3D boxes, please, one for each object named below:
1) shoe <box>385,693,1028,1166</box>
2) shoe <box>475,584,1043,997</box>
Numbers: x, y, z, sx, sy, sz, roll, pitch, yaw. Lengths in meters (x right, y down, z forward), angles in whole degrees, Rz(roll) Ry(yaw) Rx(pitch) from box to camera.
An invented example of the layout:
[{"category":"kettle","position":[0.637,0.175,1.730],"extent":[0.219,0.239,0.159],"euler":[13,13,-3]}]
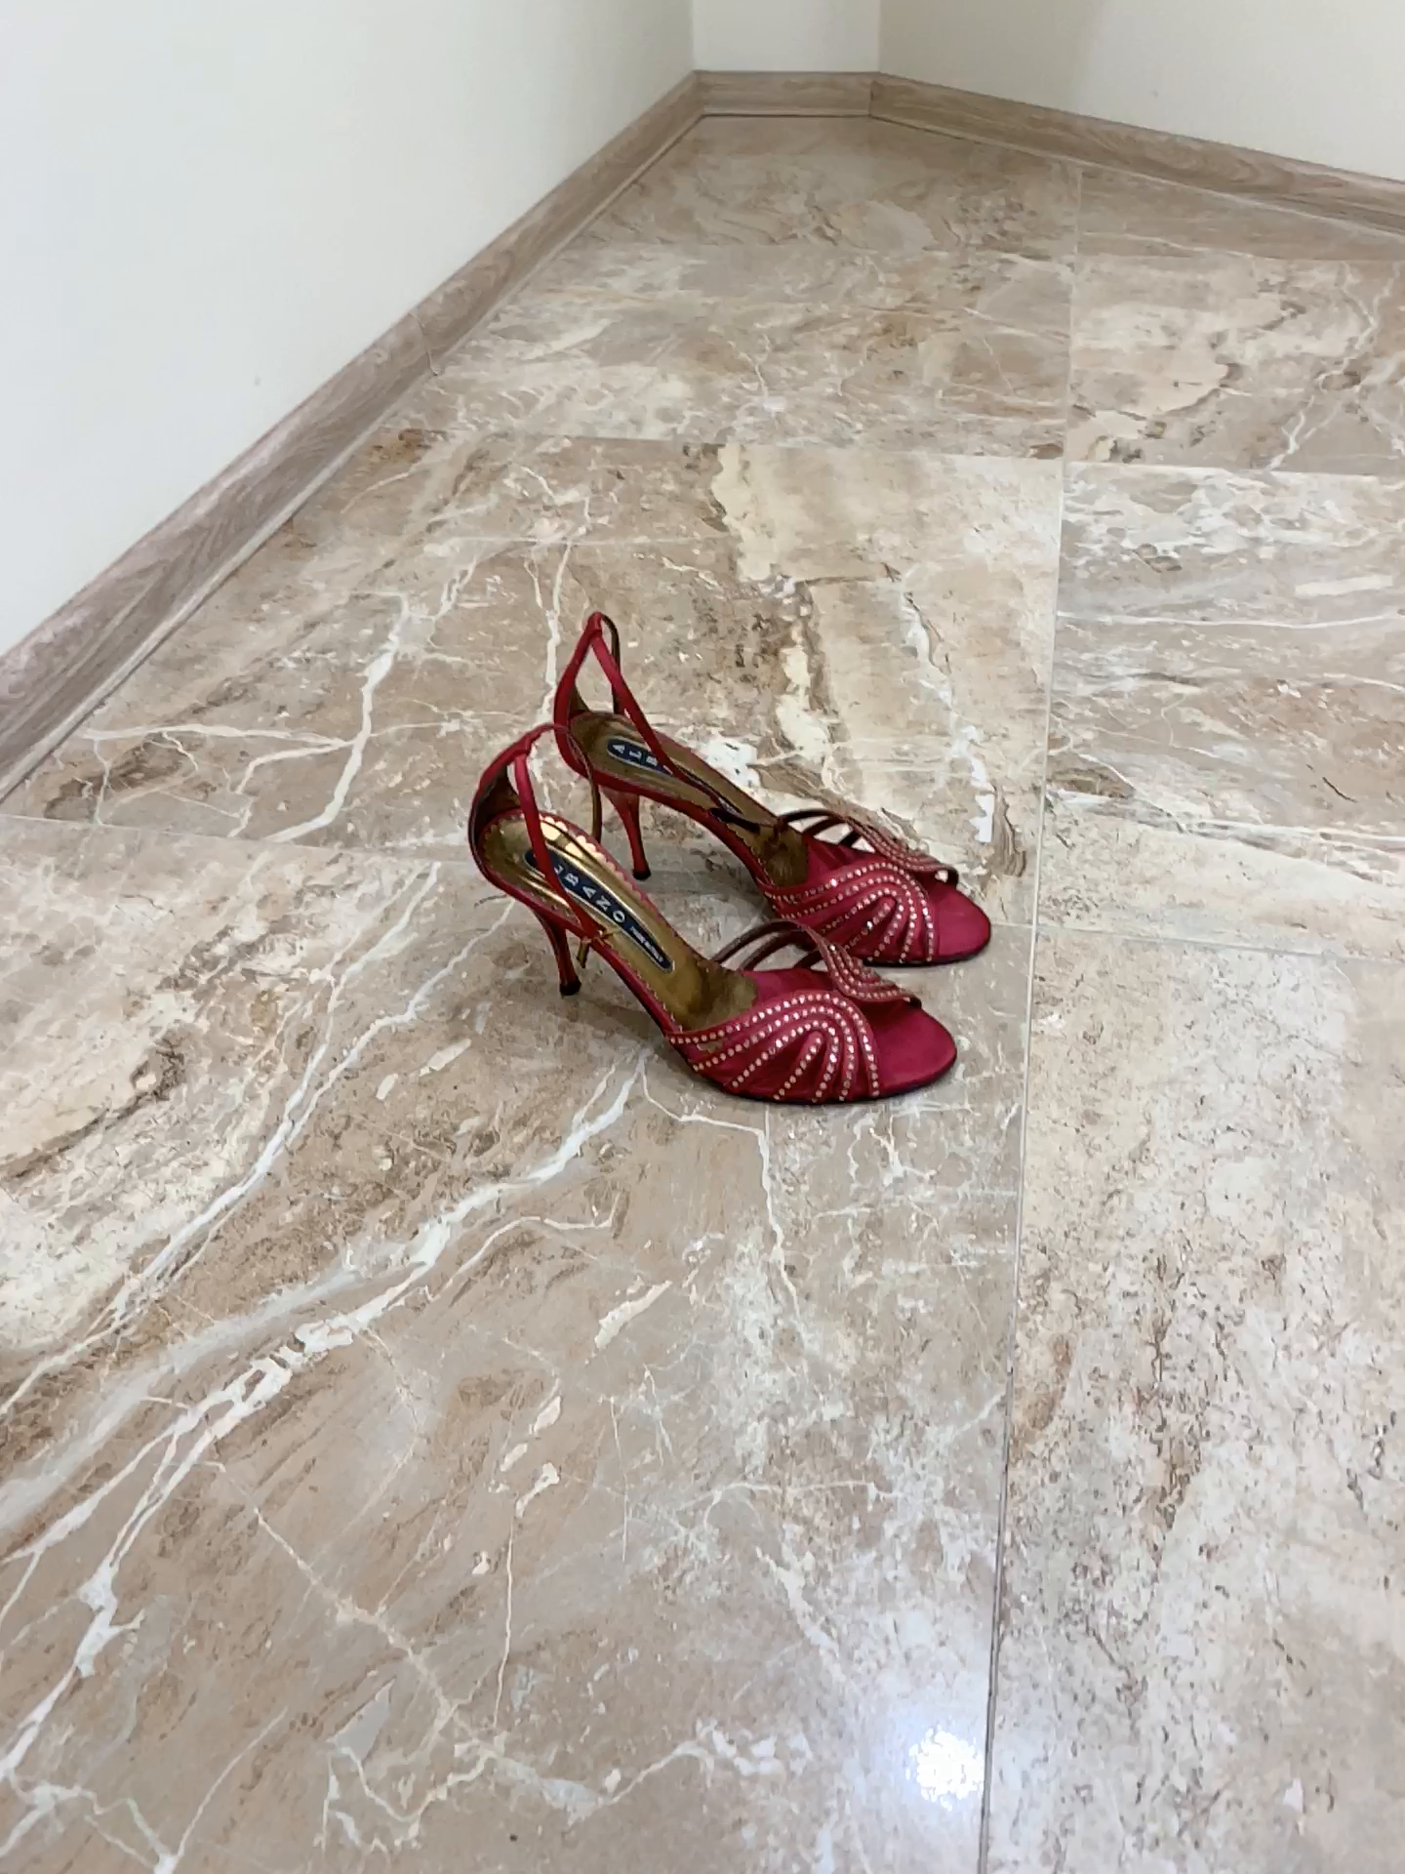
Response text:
[{"category":"shoe","position":[0.004,-0.006,0.591],"extent":[0.230,0.129,0.090],"euler":[10,41,14]},{"category":"shoe","position":[0.027,-0.070,0.664],"extent":[0.230,0.129,0.090],"euler":[10,41,14]}]
